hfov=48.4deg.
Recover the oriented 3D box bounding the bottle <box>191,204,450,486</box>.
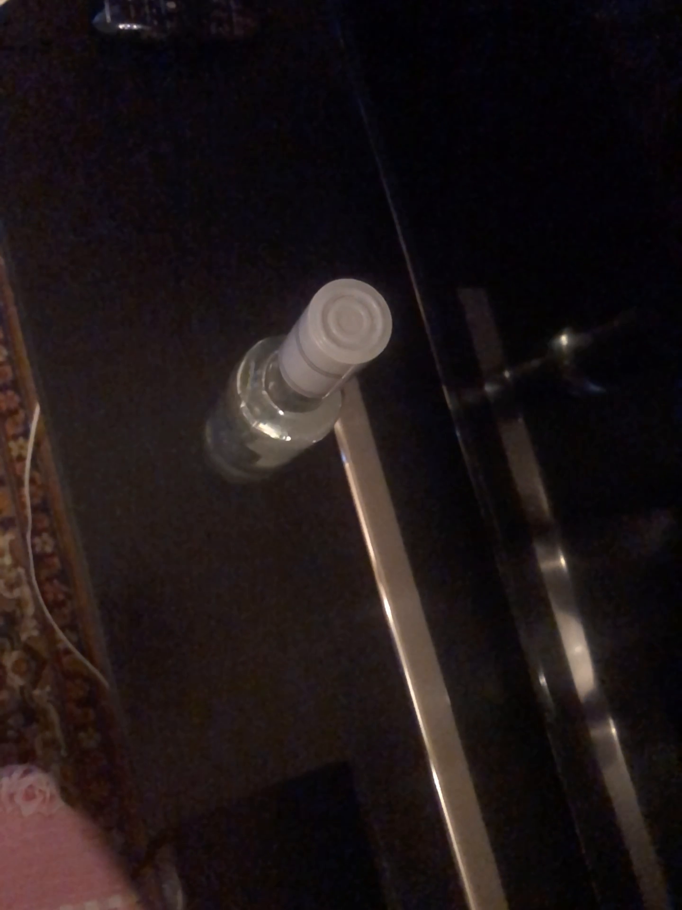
[{"bbox_3d":[-0.034,-0.038,0.425,0.067,0.291,0.064,3,80,-15],"label":"bottle"}]
